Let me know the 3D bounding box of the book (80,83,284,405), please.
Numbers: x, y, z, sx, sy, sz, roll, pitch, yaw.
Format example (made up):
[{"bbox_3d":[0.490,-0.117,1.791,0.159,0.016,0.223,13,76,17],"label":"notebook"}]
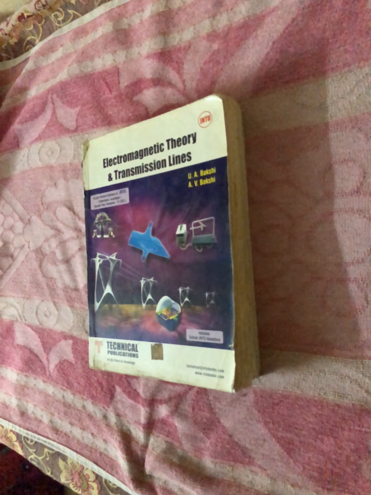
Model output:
[{"bbox_3d":[-0.015,0.002,0.403,0.201,0.060,0.250,-5,85,39],"label":"book"}]
